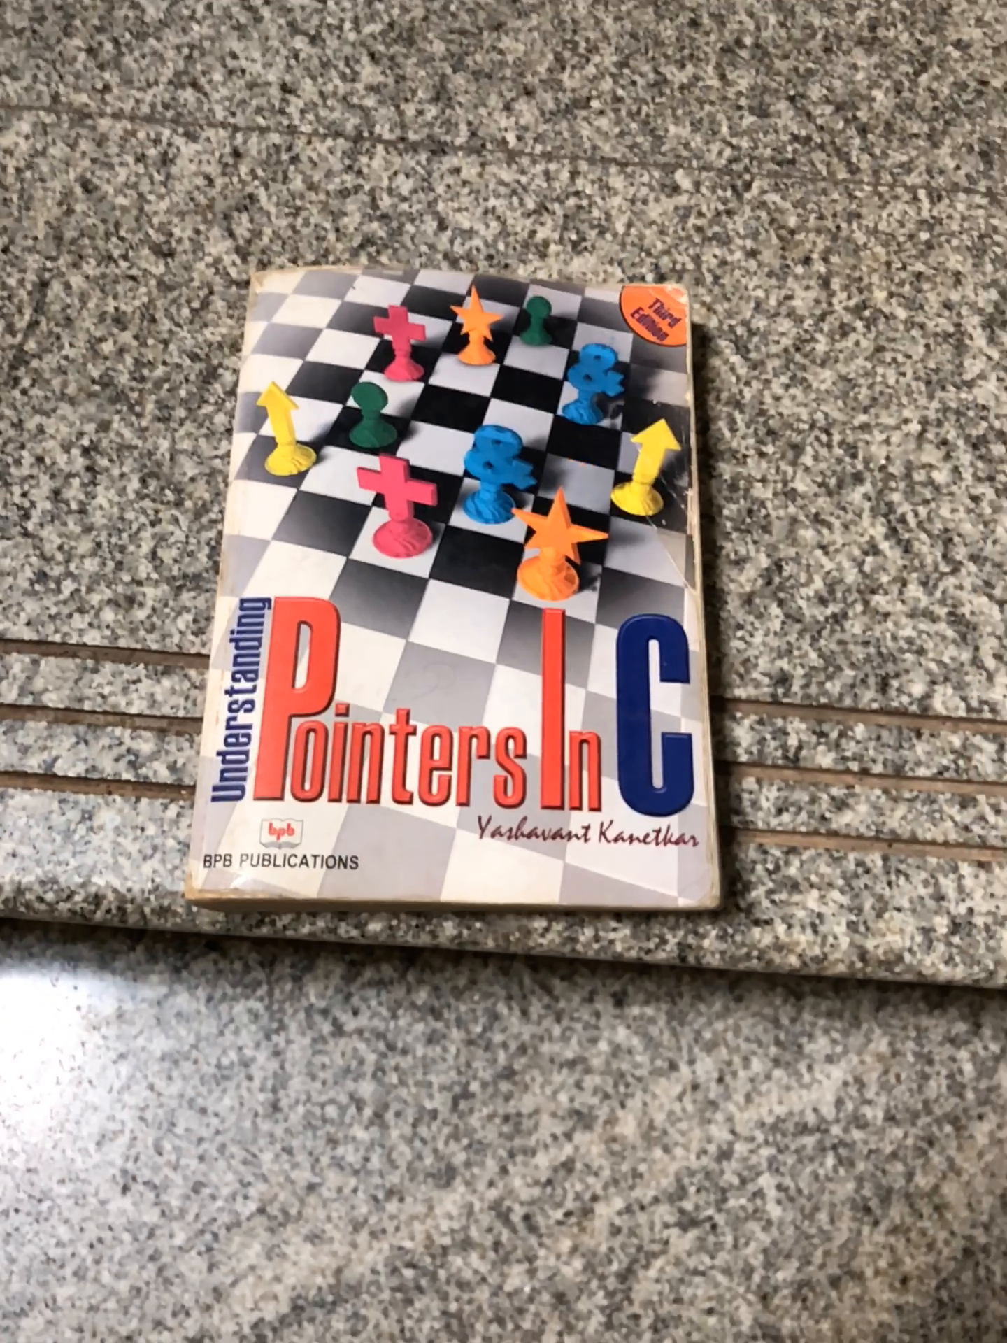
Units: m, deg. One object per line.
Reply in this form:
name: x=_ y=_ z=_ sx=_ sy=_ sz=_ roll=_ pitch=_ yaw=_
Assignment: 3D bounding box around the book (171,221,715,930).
book: x=-0.014 y=-0.037 z=0.344 sx=0.140 sy=0.030 sz=0.220 roll=2 pitch=69 yaw=-2
